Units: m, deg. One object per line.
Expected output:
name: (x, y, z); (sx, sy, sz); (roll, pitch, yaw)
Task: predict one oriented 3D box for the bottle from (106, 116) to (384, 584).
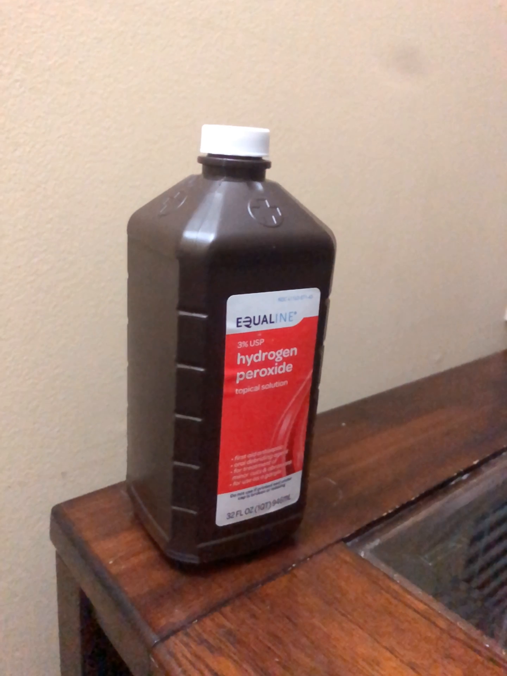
bottle: (-0.012, -0.001, 0.271); (0.090, 0.190, 0.080); (-8, 22, -31)
